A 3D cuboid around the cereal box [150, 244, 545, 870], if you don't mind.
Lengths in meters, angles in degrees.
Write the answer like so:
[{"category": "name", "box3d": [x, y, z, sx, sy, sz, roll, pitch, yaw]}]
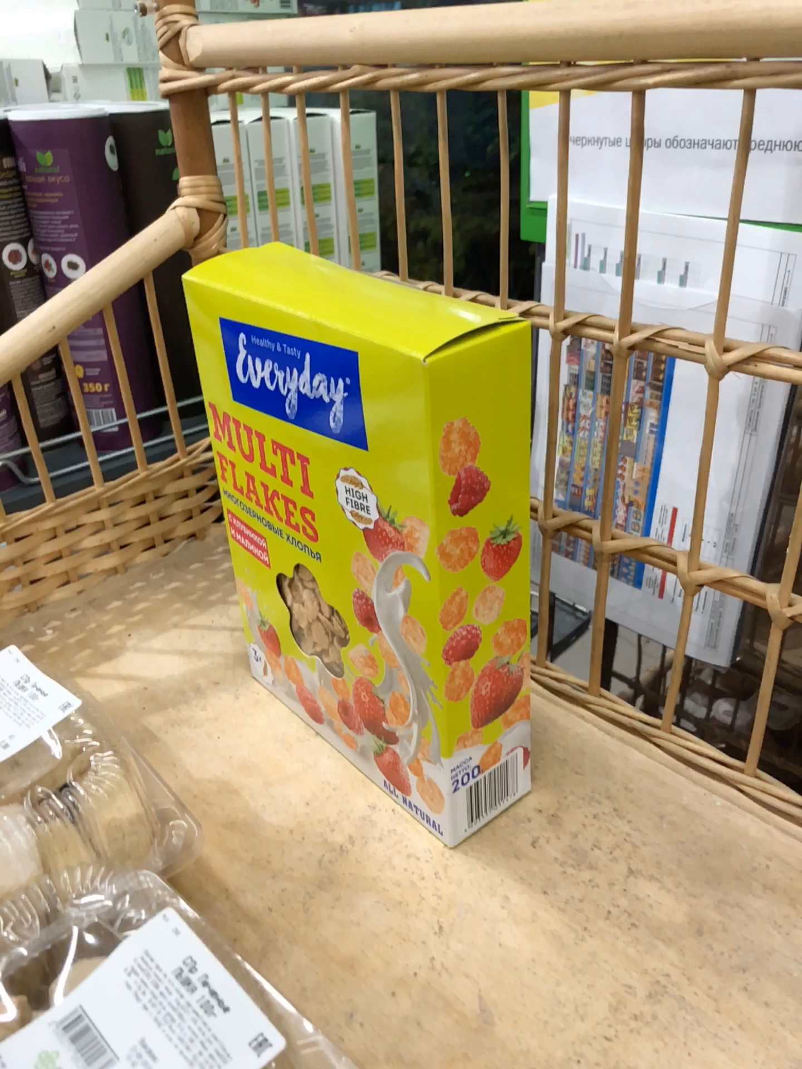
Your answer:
[{"category": "cereal box", "box3d": [-0.024, 0.003, 0.402, 0.060, 0.229, 0.181, -25, 36, -31]}]
